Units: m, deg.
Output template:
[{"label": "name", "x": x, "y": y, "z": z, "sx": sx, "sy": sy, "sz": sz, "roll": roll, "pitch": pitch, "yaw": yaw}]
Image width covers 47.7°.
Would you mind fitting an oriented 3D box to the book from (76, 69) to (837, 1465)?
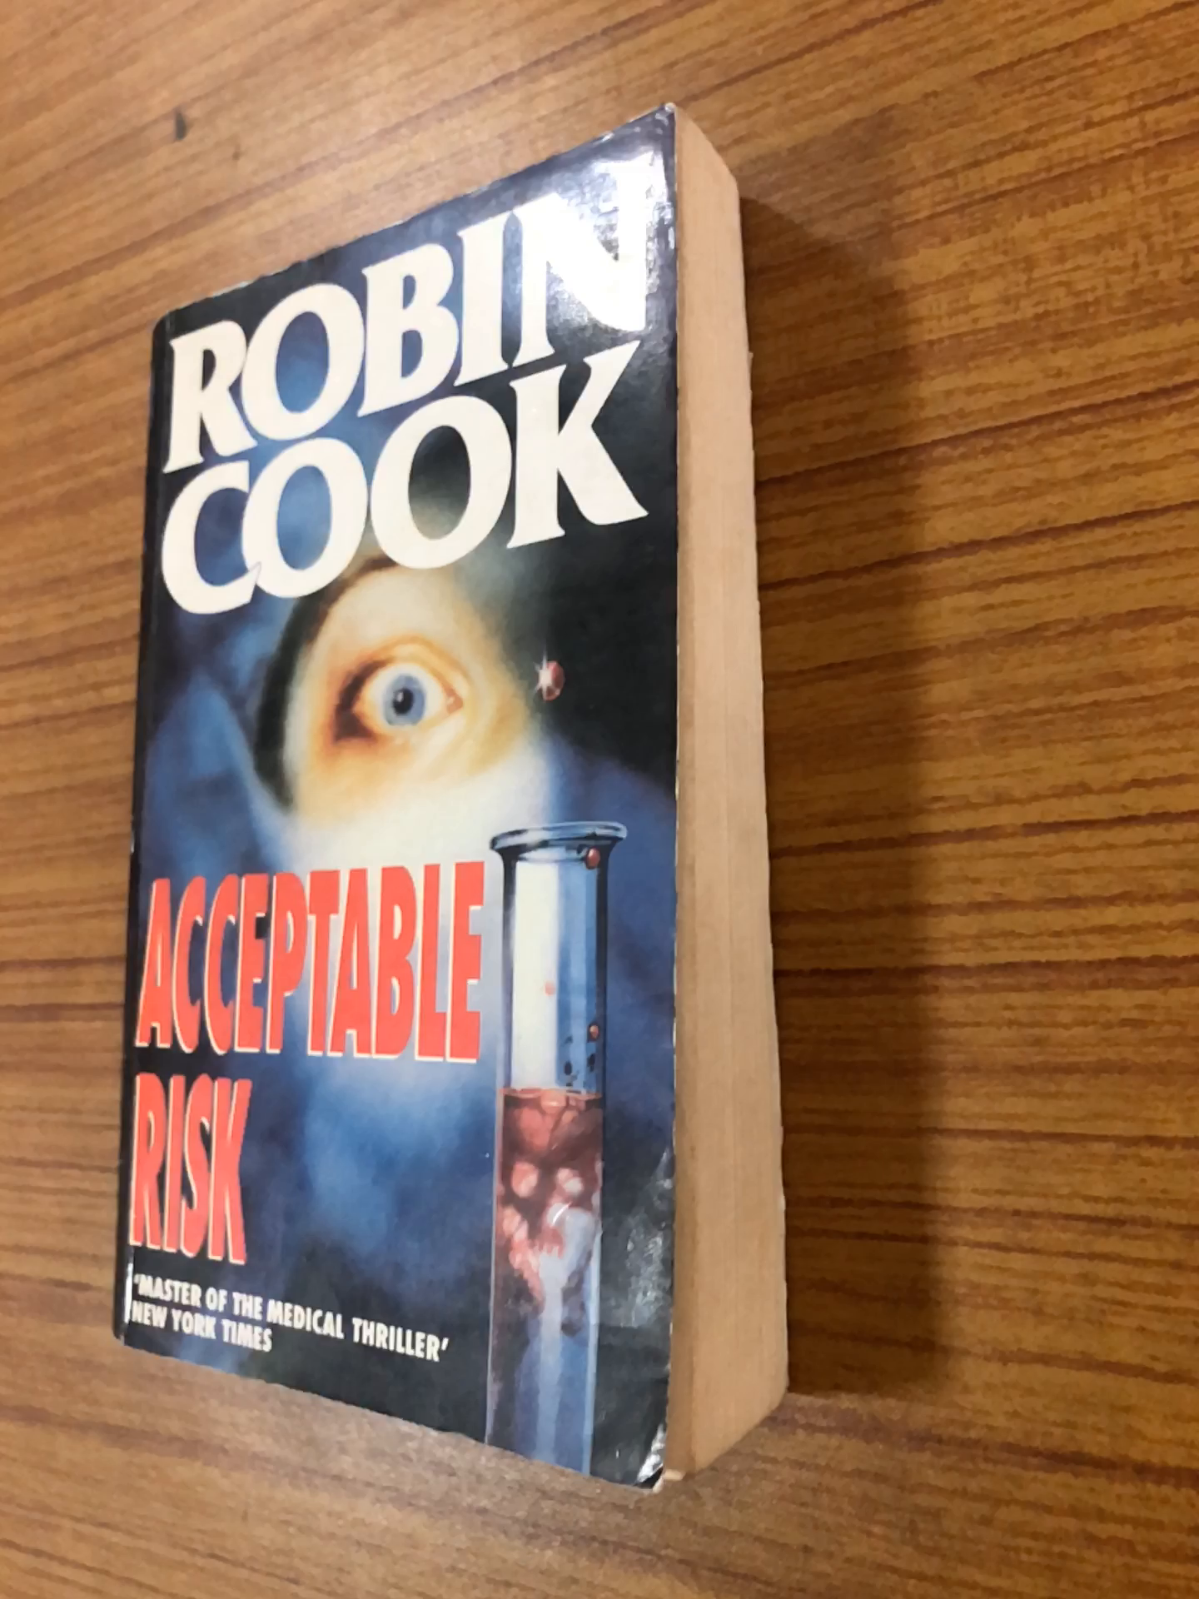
[{"label": "book", "x": -0.025, "y": -0.003, "z": 0.210, "sx": 0.111, "sy": 0.040, "sz": 0.170, "roll": -5, "pitch": 82, "yaw": 32}]
